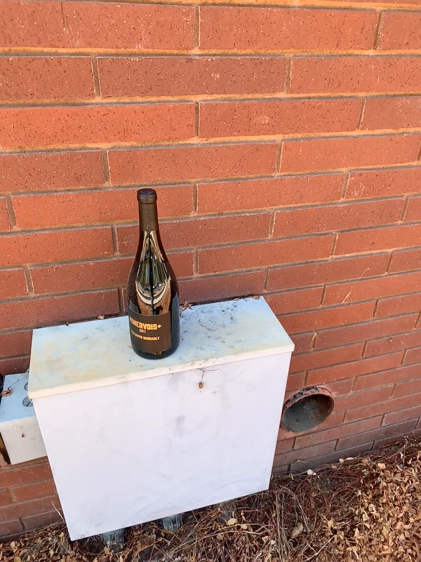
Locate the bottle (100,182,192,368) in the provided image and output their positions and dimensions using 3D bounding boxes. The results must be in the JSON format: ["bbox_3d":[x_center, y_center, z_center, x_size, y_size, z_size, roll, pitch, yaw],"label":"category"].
[{"bbox_3d":[-0.092,-0.004,0.677,0.100,0.268,0.090,11,34,13],"label":"bottle"}]
